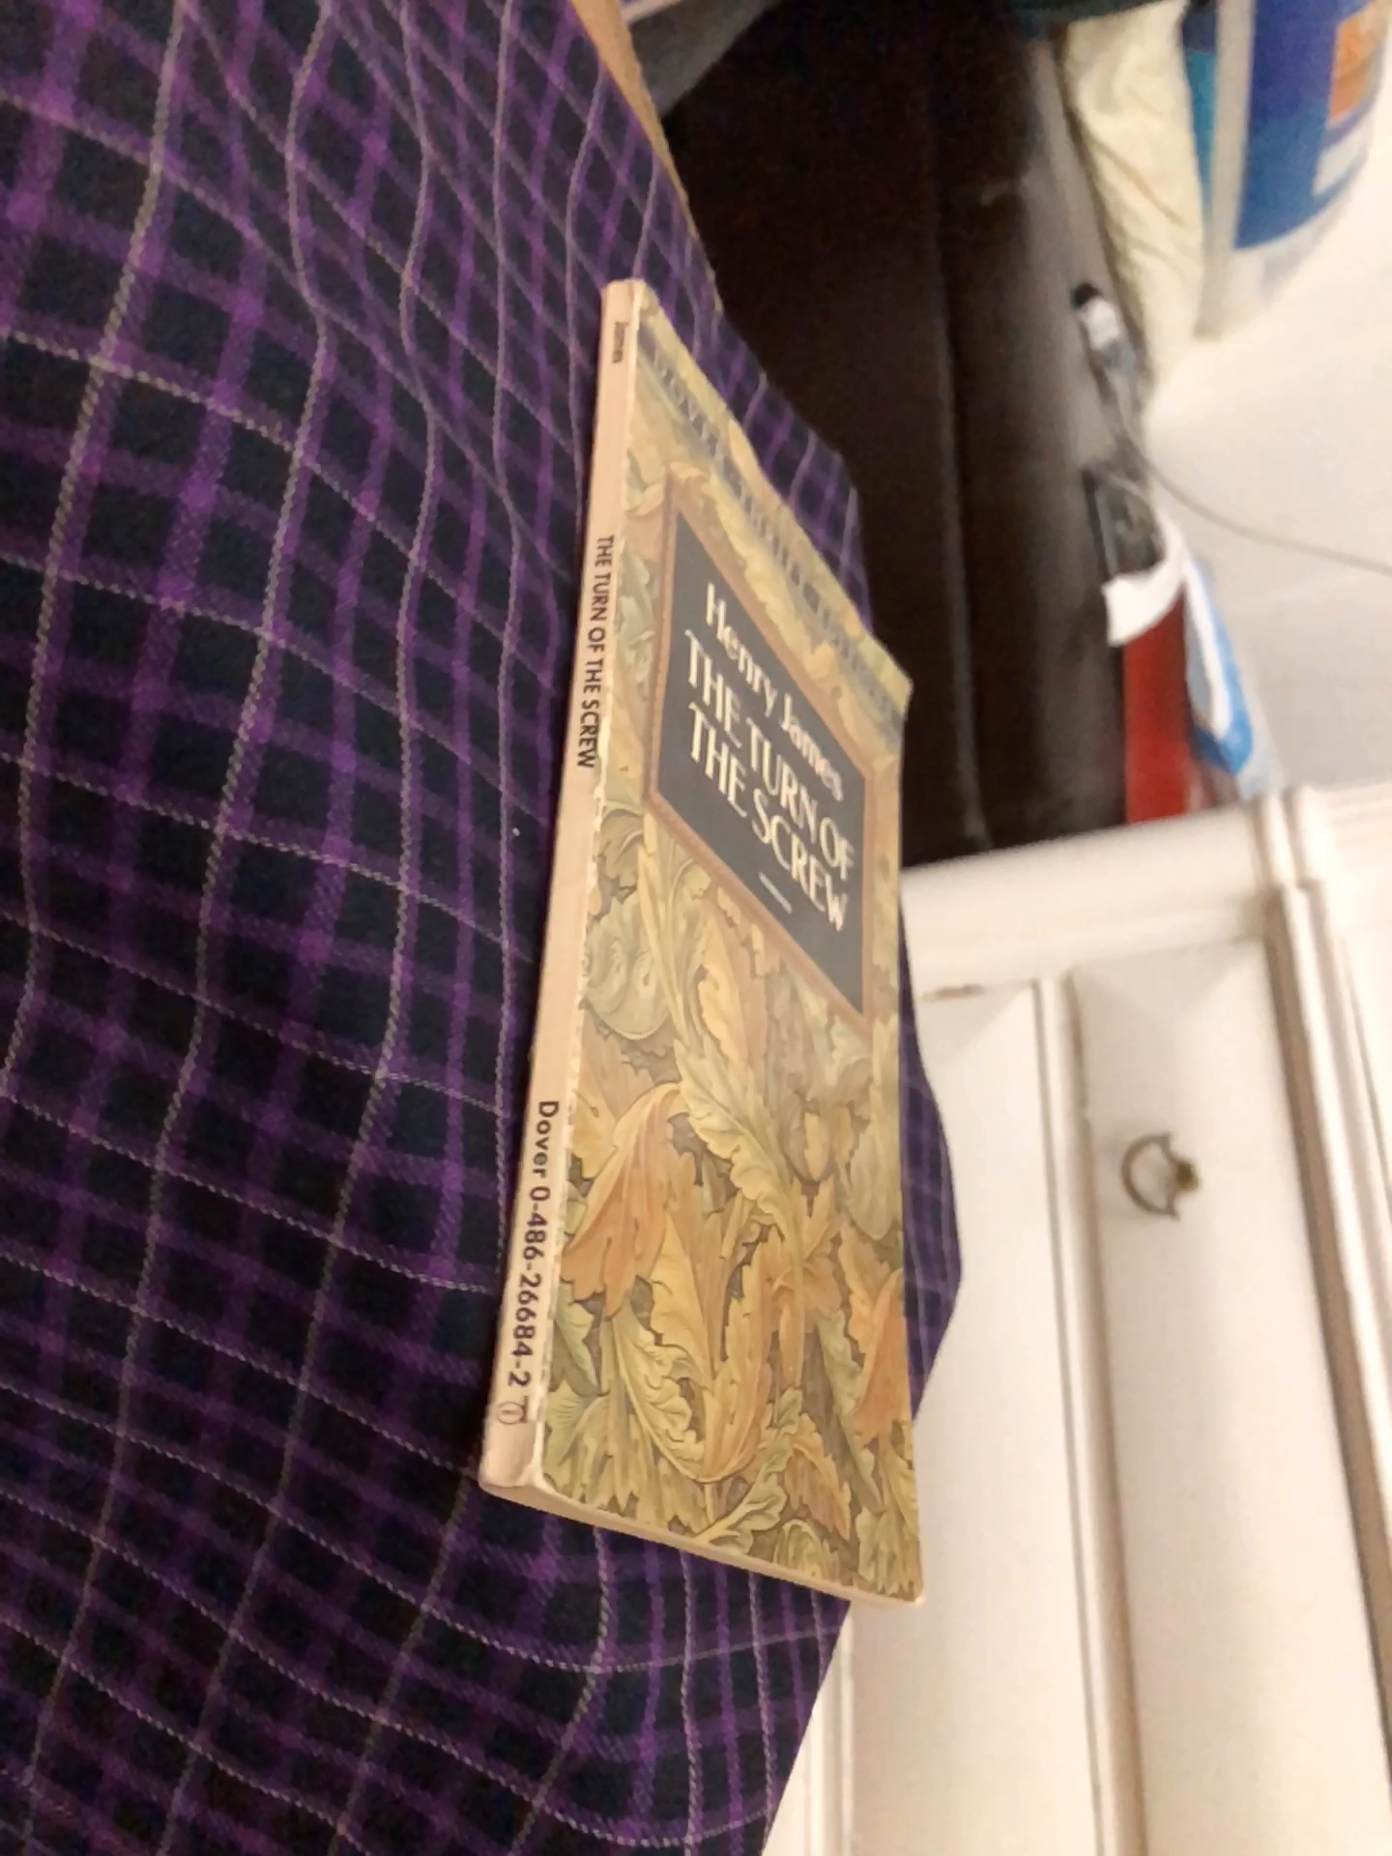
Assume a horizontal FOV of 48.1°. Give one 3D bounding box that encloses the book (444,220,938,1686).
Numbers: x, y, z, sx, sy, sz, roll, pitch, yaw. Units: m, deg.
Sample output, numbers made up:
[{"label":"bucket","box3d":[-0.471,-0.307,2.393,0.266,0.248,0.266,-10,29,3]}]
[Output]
[{"label":"book","box3d":[0.011,0.007,0.273,0.140,0.010,0.220,45,40,-52]}]
